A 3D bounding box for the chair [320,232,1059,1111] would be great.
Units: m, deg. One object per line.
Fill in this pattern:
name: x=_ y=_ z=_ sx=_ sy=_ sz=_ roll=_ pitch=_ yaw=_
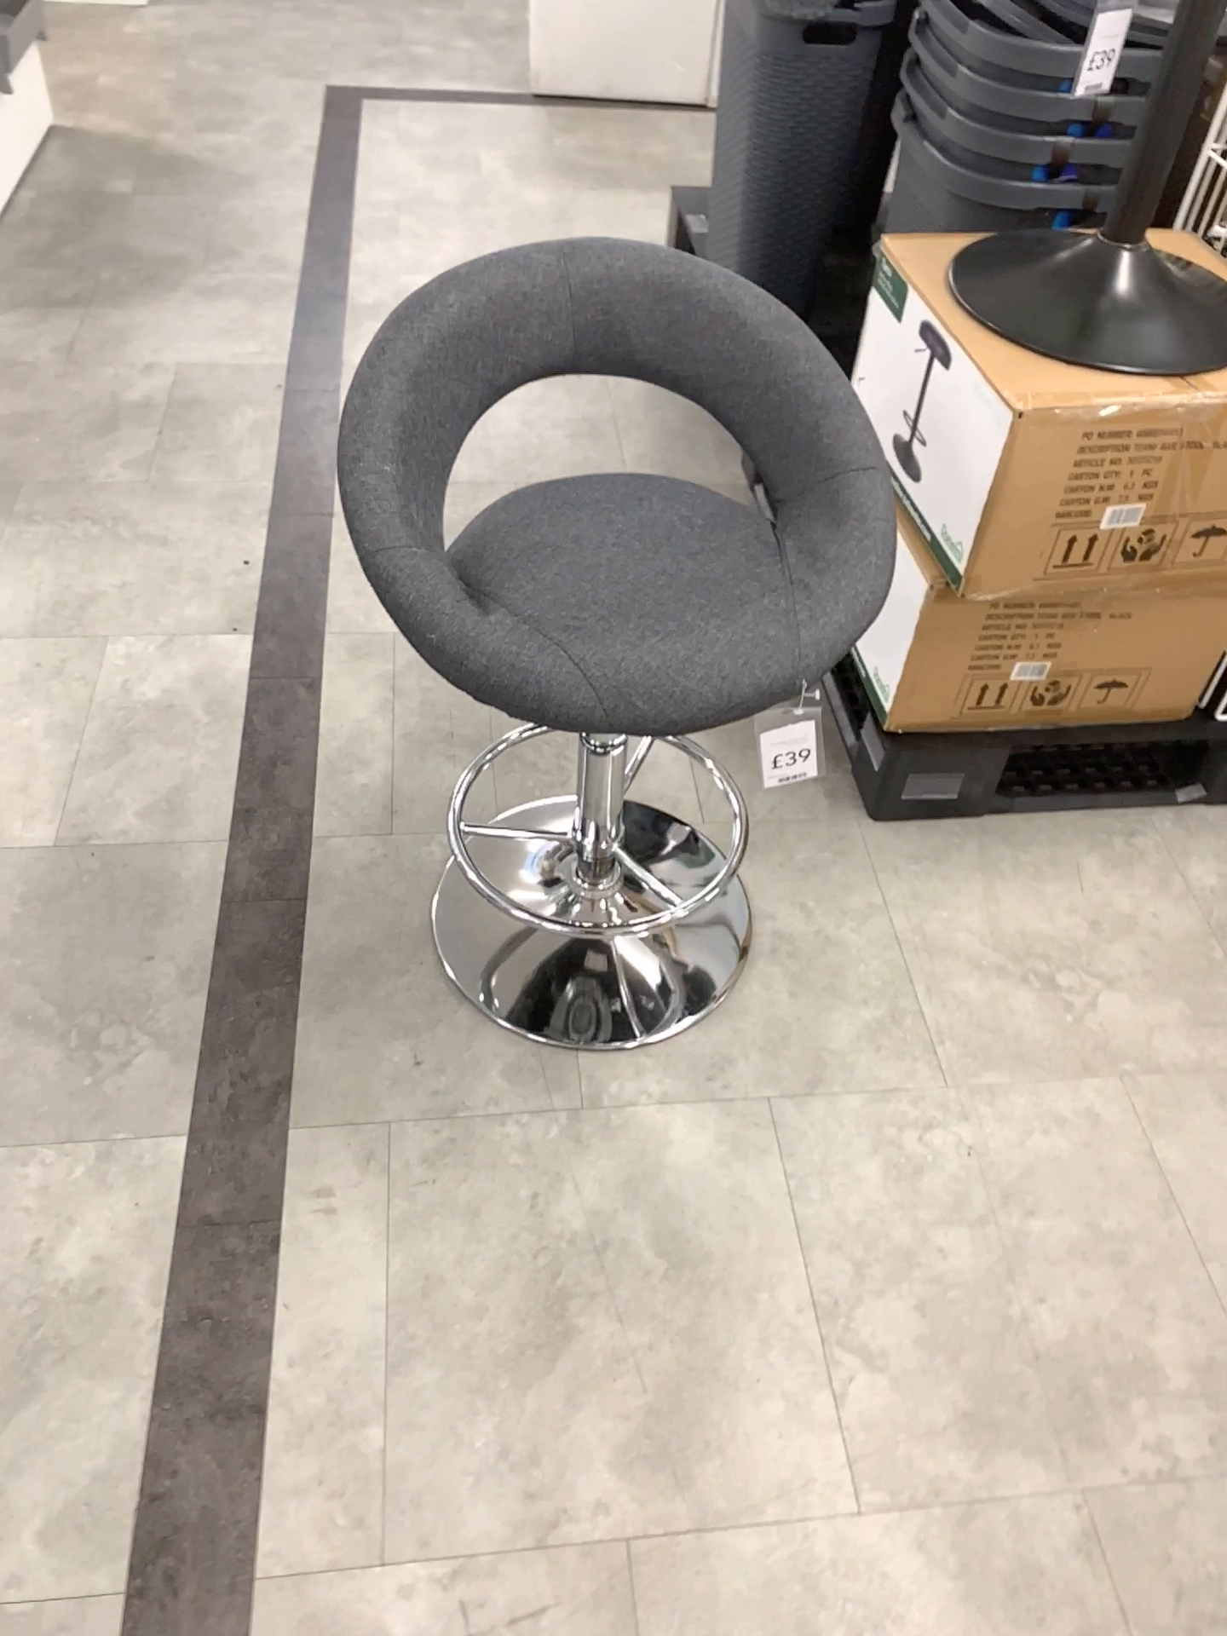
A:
chair: x=0.004 y=-0.137 z=1.373 sx=0.546 sy=0.787 sz=0.489 roll=-5 pitch=47 yaw=-11
